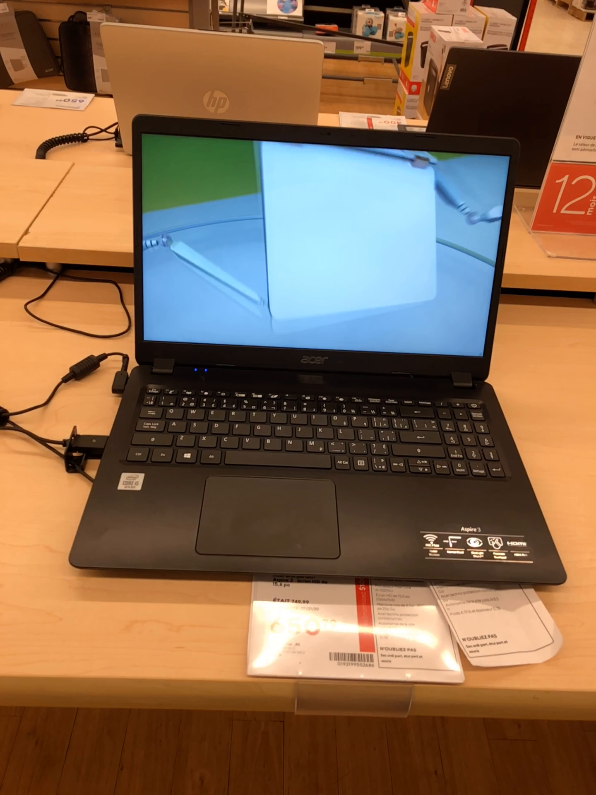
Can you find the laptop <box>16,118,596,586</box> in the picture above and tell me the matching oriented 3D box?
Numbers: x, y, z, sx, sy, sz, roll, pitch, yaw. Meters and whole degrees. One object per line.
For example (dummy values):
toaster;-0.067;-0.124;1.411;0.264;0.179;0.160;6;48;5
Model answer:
laptop;0.023;-0.058;0.534;0.354;0.210;0.329;3;39;-2
